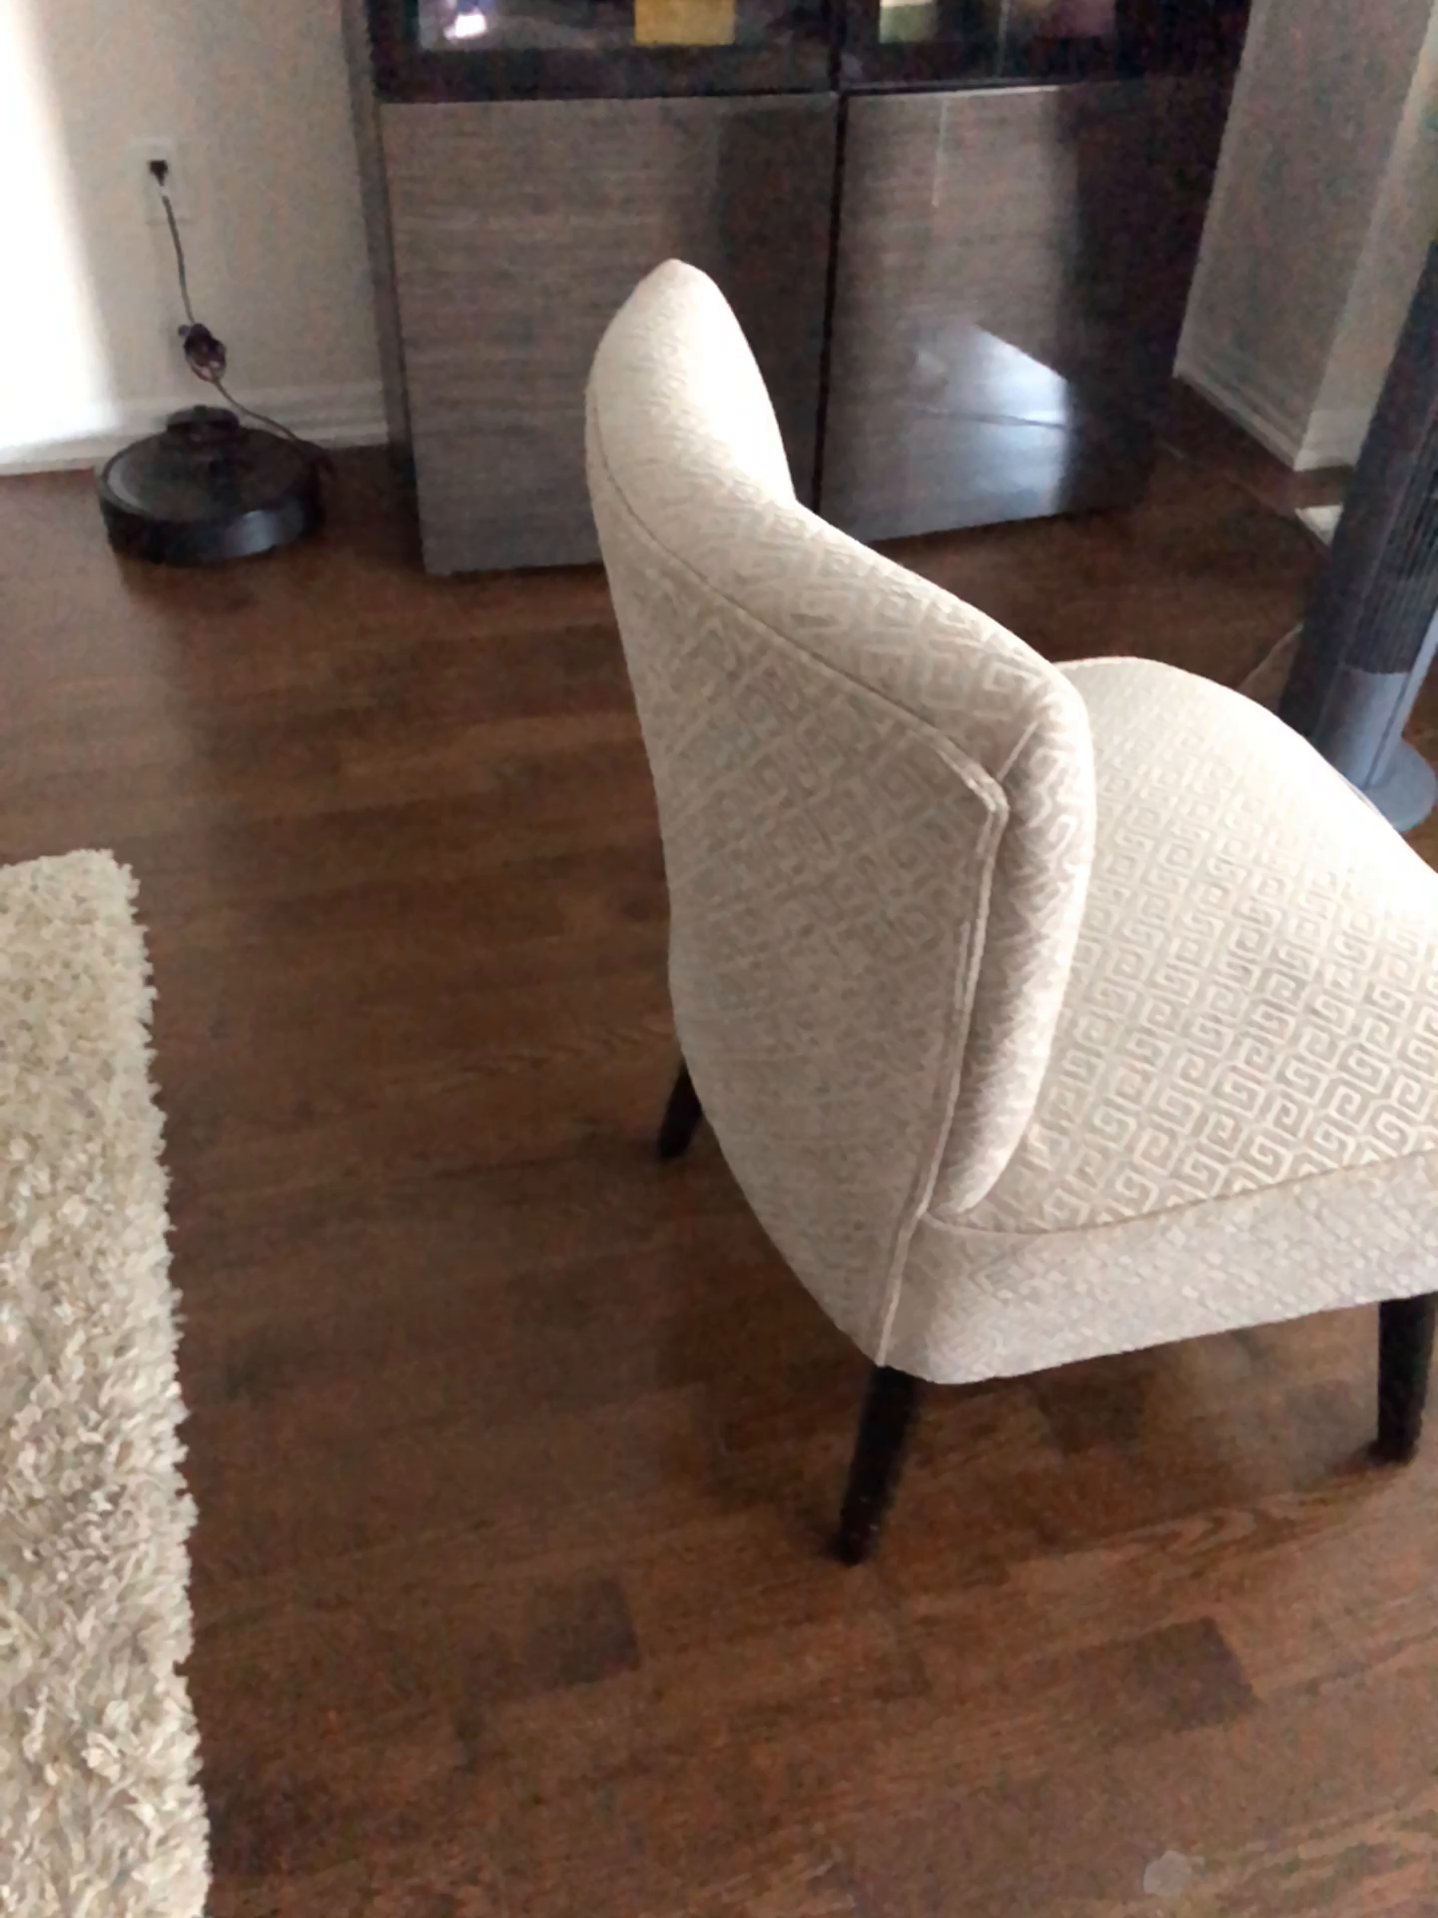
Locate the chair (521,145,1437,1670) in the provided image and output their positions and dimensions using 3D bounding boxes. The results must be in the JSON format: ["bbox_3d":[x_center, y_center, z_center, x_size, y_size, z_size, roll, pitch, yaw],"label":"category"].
[{"bbox_3d":[0.259,-0.052,1.140,0.640,0.797,0.602,-11,44,-15],"label":"chair"}]
